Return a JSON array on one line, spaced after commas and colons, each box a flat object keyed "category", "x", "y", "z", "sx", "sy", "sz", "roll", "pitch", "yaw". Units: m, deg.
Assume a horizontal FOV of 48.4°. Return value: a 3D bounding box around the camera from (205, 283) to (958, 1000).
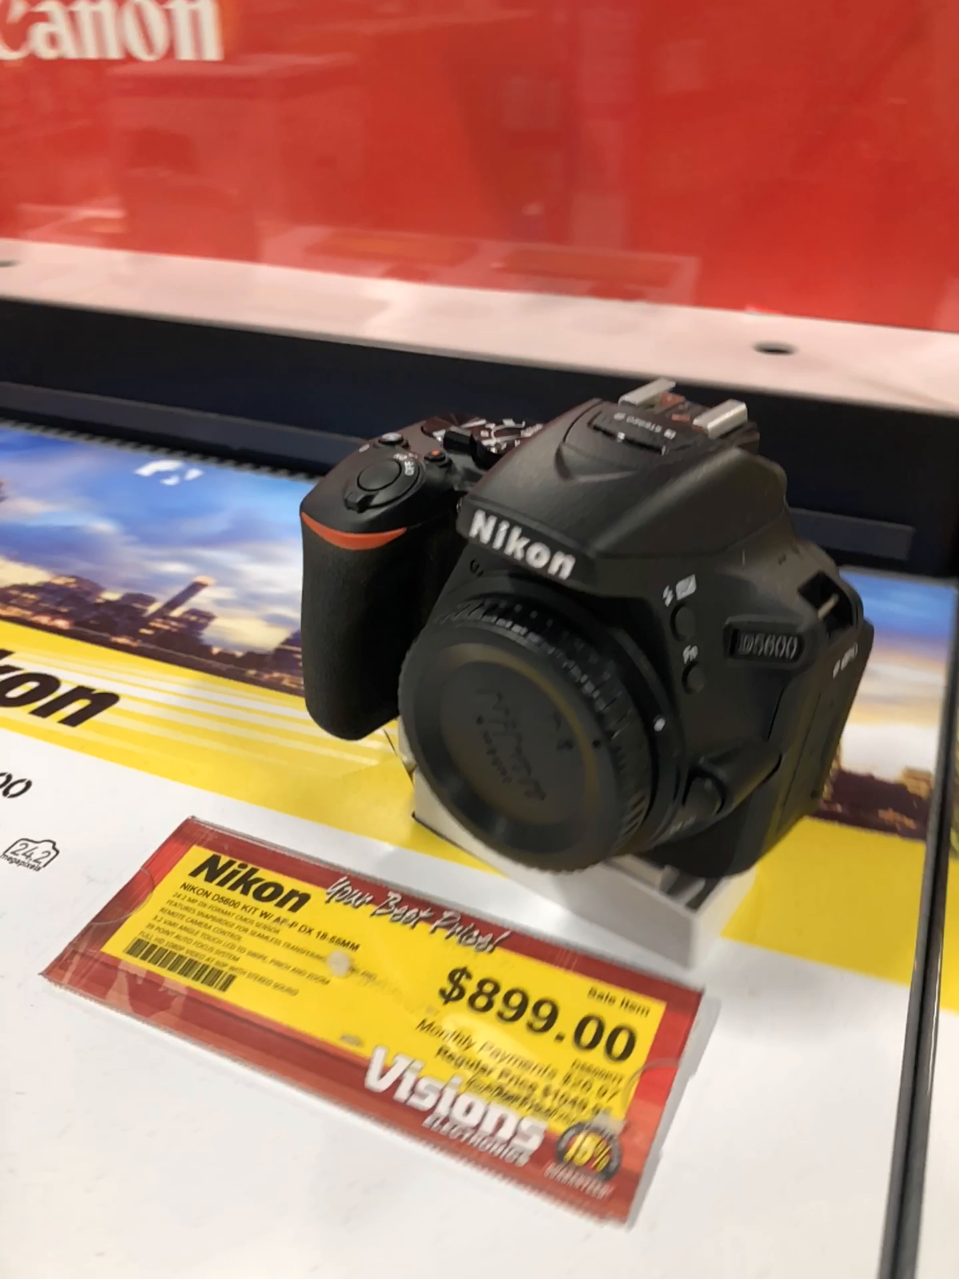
[{"category": "camera", "x": 0.018, "y": -0.013, "z": 0.237, "sx": 0.141, "sy": 0.089, "sz": 0.080, "roll": 27, "pitch": 37, "yaw": 31}]
